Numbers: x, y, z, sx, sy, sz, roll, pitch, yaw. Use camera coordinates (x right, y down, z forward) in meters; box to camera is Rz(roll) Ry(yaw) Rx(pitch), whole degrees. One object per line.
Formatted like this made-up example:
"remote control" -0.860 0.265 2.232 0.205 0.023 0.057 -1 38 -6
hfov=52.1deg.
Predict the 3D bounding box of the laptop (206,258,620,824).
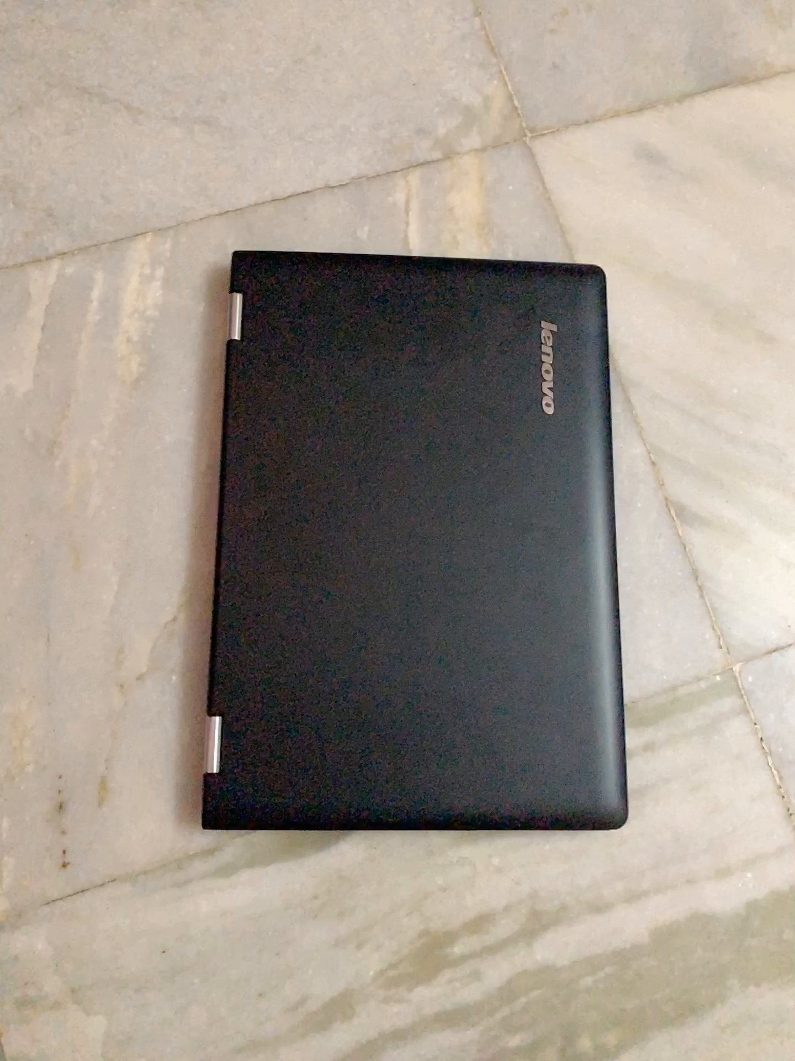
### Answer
"laptop" 0.012 -0.003 0.468 0.223 0.001 0.325 1 79 -4
